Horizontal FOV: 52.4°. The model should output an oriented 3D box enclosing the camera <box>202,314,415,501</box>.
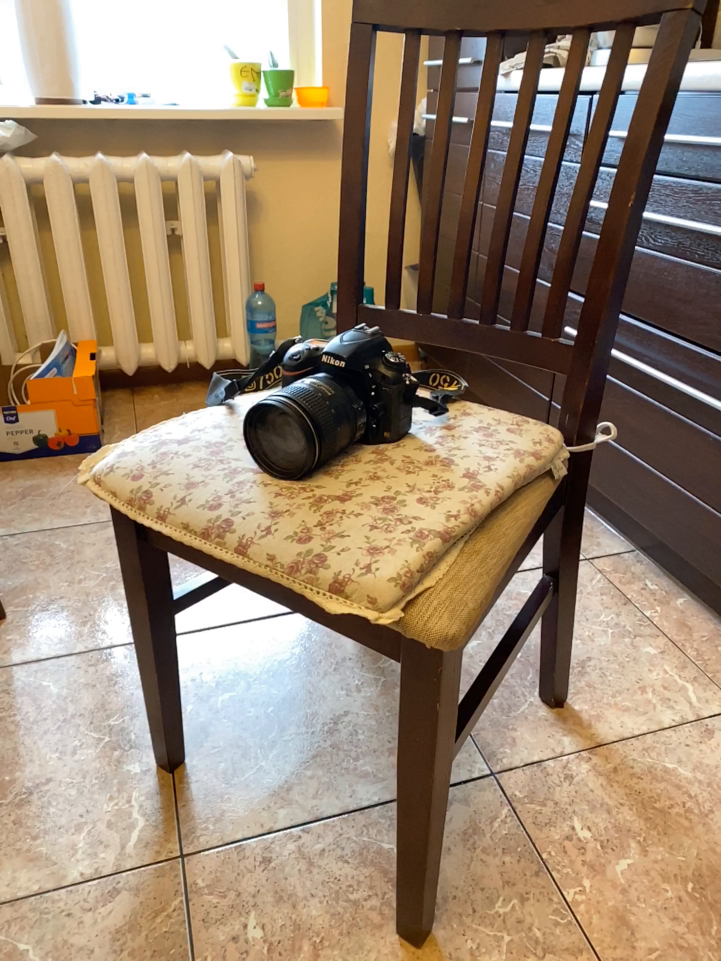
[{"bbox_3d":[-0.047,-0.082,0.735,0.135,0.119,0.164,17,30,29],"label":"camera"}]
